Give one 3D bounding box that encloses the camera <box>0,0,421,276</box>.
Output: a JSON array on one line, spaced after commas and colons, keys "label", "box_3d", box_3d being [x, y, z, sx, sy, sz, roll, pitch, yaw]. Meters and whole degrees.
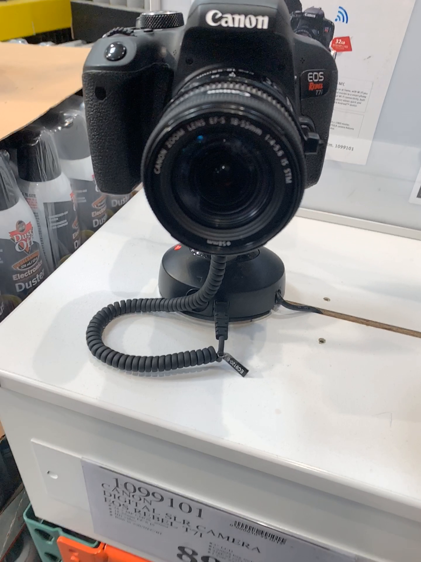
[{"label": "camera", "box_3d": [0.005, -0.080, 0.199, 0.134, 0.089, 0.121, 6, 36, 3]}]
